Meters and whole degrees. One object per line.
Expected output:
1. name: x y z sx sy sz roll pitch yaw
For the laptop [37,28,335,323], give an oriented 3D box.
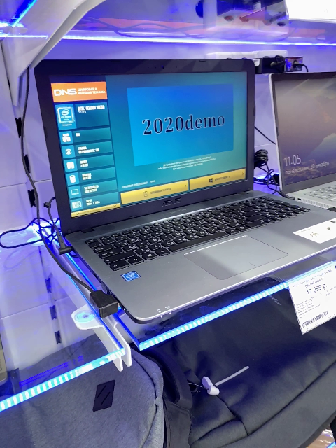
1. laptop: 0.064 -0.100 0.461 0.372 0.232 0.263 -14 23 -28
